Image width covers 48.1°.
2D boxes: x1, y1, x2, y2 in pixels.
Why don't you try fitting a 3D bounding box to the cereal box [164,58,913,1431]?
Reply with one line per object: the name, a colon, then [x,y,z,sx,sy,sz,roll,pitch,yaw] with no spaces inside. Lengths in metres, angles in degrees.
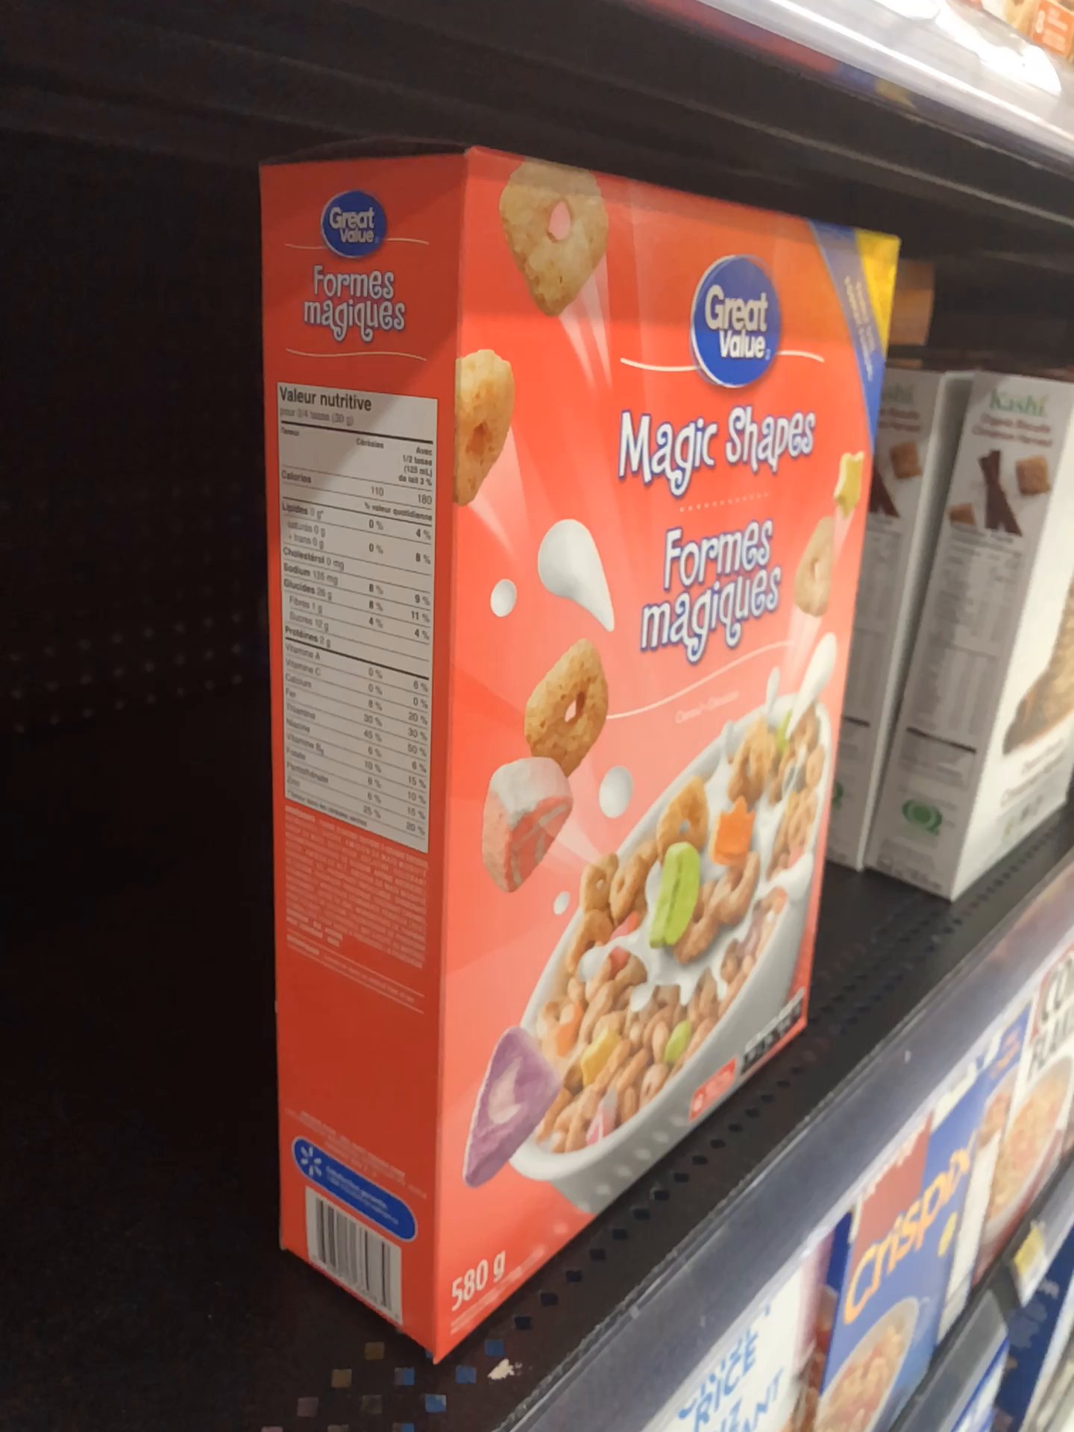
cereal box: [0.017,0.001,0.398,0.080,0.339,0.251,15,21,35]
